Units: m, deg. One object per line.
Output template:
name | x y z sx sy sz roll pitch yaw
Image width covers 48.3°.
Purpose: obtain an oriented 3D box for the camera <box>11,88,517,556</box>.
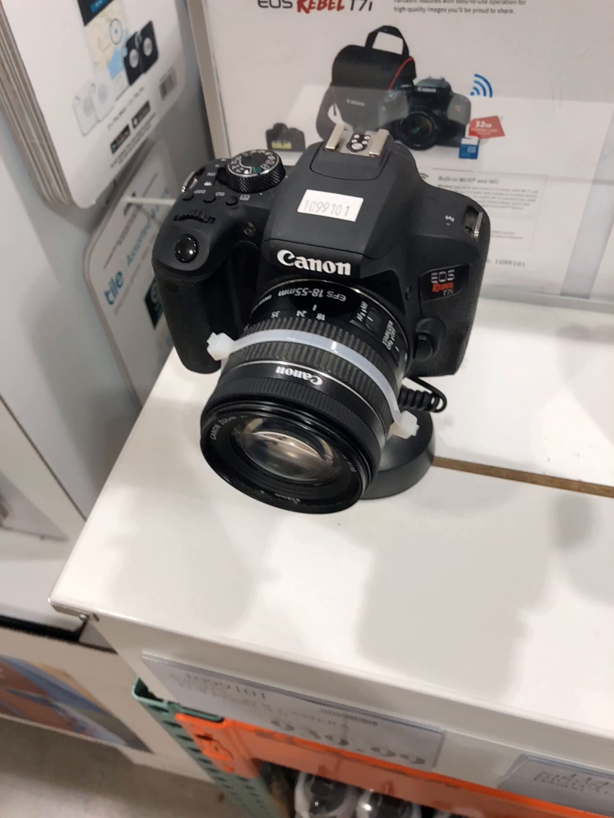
camera | -0.004 -0.036 0.259 0.130 0.100 0.120 12 54 13
